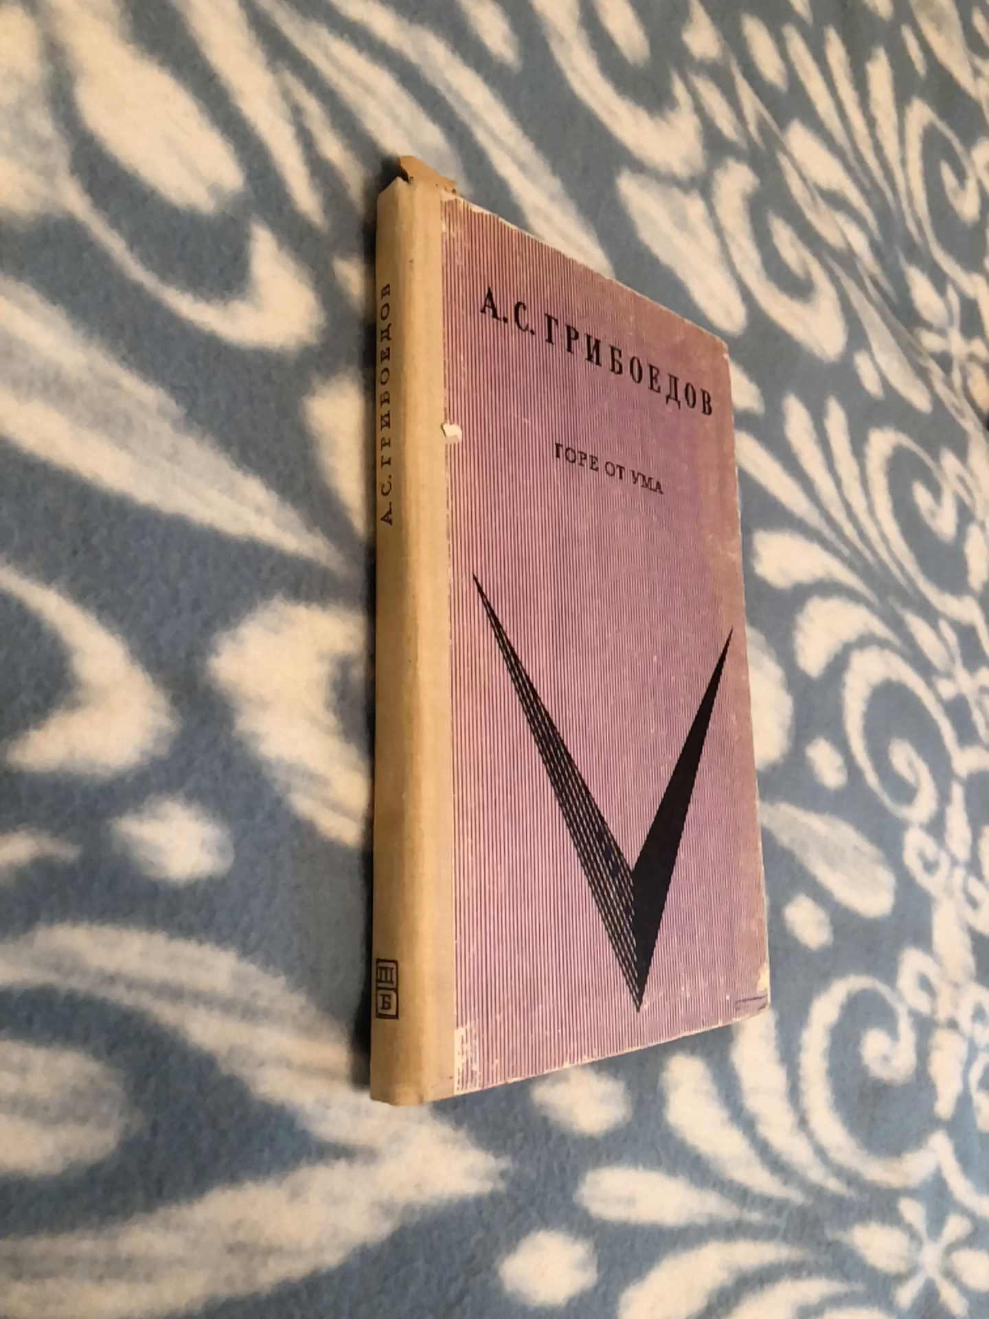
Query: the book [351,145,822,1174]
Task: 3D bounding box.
[{"bbox_3d":[0.032,0.001,0.292,0.159,0.020,0.217,8,77,-45],"label":"book"}]
